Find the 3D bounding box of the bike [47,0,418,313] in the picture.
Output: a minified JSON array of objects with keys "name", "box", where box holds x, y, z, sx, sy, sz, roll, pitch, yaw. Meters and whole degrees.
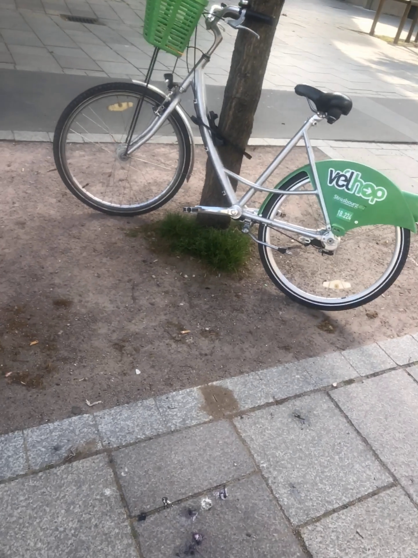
[{"name":"bike","box":[0.173,-0.643,2.108,1.719,1.114,0.313,19,35,3]}]
